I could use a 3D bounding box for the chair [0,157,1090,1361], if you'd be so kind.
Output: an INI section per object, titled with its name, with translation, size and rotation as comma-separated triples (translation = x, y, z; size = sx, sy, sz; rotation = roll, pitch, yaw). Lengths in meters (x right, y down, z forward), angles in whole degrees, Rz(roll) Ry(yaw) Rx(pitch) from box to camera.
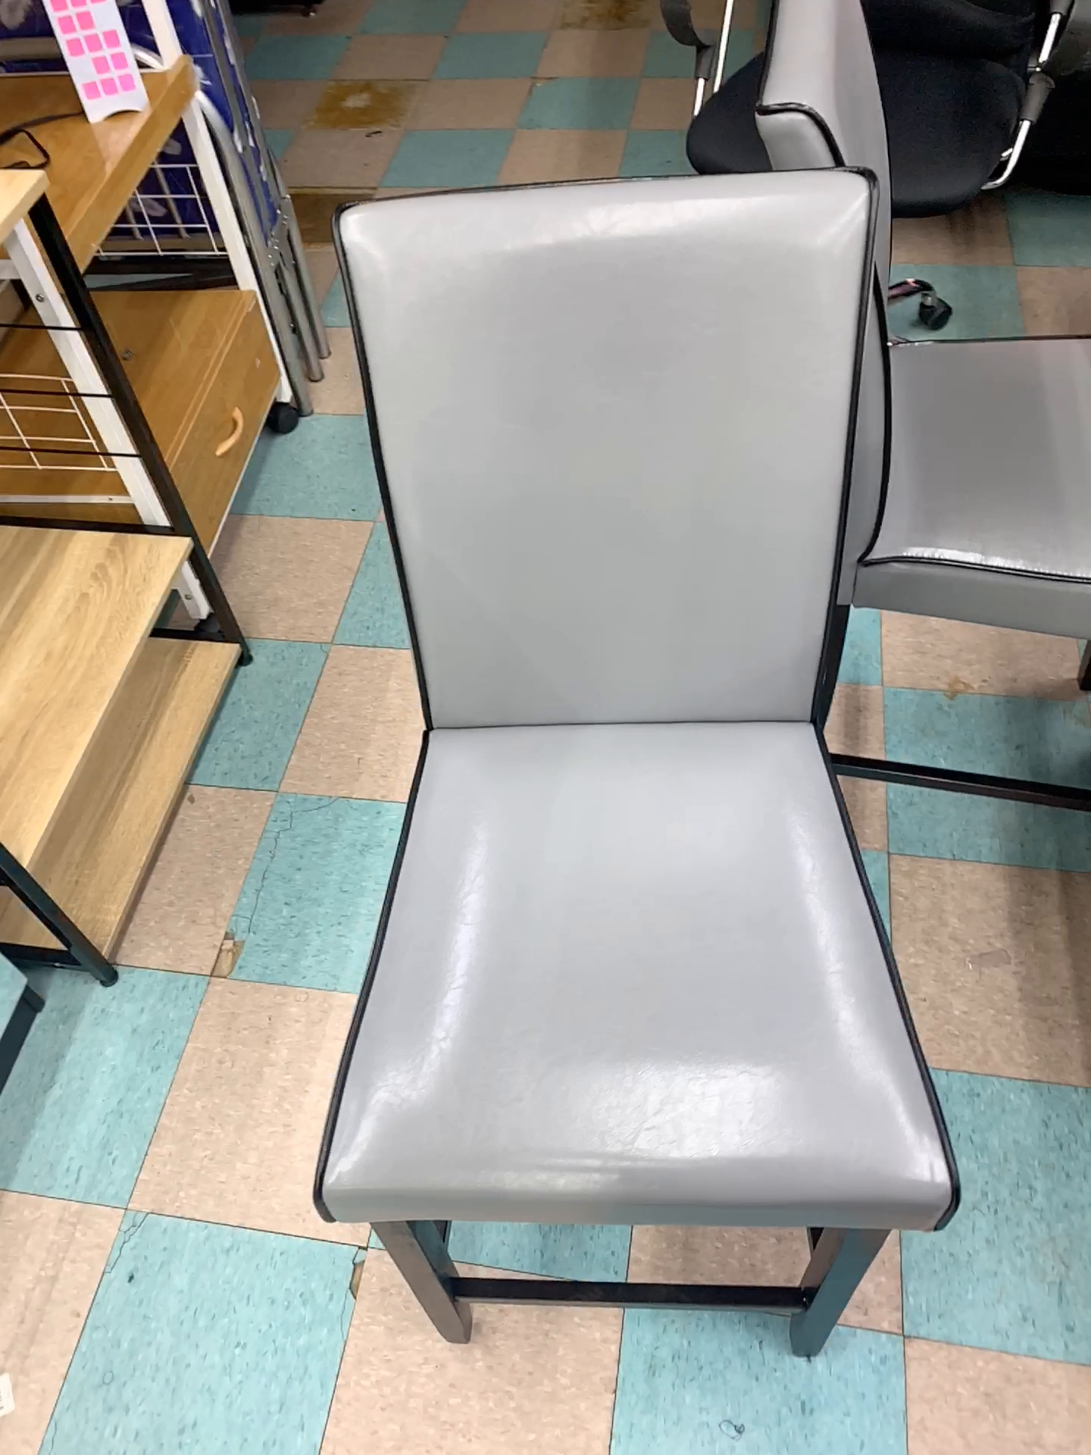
[chair]
translation = 0.047, 0.137, 0.937
size = 0.450, 0.931, 0.562
rotation = -1, 53, 5
